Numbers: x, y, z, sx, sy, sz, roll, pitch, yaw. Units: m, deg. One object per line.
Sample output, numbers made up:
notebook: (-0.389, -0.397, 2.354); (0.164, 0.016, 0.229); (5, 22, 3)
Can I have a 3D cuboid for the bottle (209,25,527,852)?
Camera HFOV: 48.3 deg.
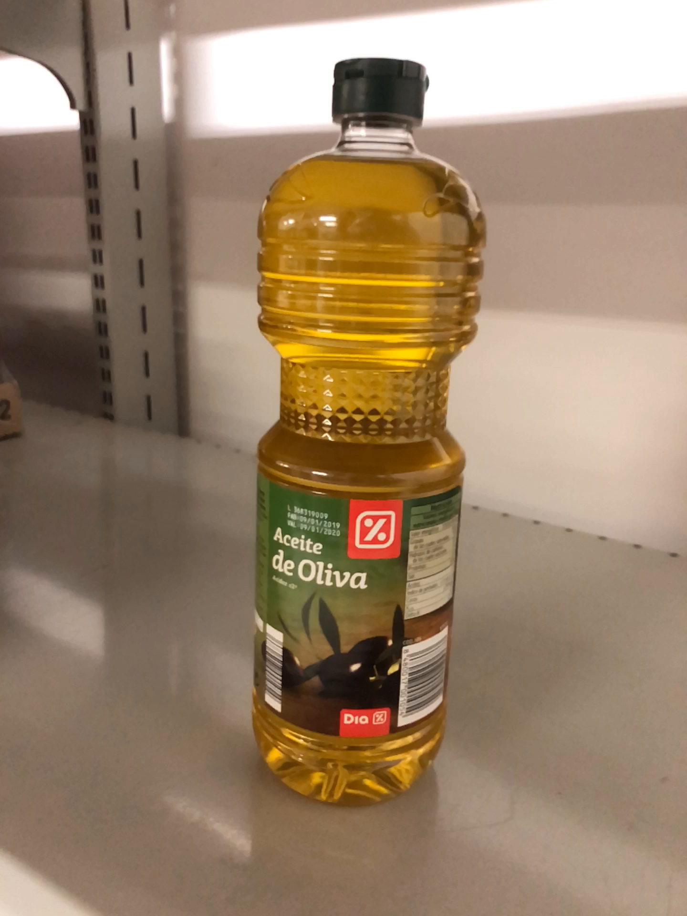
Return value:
bottle: (0.006, 0.001, 0.258); (0.080, 0.249, 0.060); (7, 18, 14)
